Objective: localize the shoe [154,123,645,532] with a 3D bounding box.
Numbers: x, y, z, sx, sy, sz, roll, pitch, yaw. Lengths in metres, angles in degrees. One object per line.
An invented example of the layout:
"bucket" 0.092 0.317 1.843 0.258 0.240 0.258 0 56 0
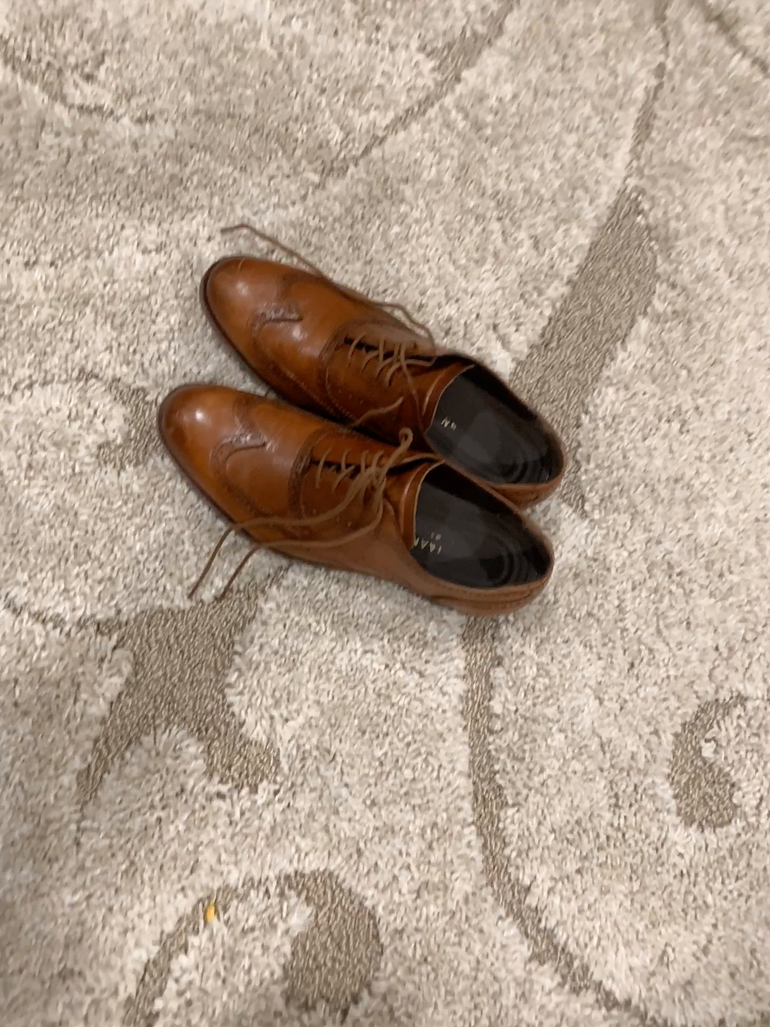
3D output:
"shoe" 0.004 -0.112 0.535 0.282 0.132 0.105 29 76 -3

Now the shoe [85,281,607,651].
"shoe" -0.025 -0.017 0.512 0.280 0.132 0.105 24 76 -4
